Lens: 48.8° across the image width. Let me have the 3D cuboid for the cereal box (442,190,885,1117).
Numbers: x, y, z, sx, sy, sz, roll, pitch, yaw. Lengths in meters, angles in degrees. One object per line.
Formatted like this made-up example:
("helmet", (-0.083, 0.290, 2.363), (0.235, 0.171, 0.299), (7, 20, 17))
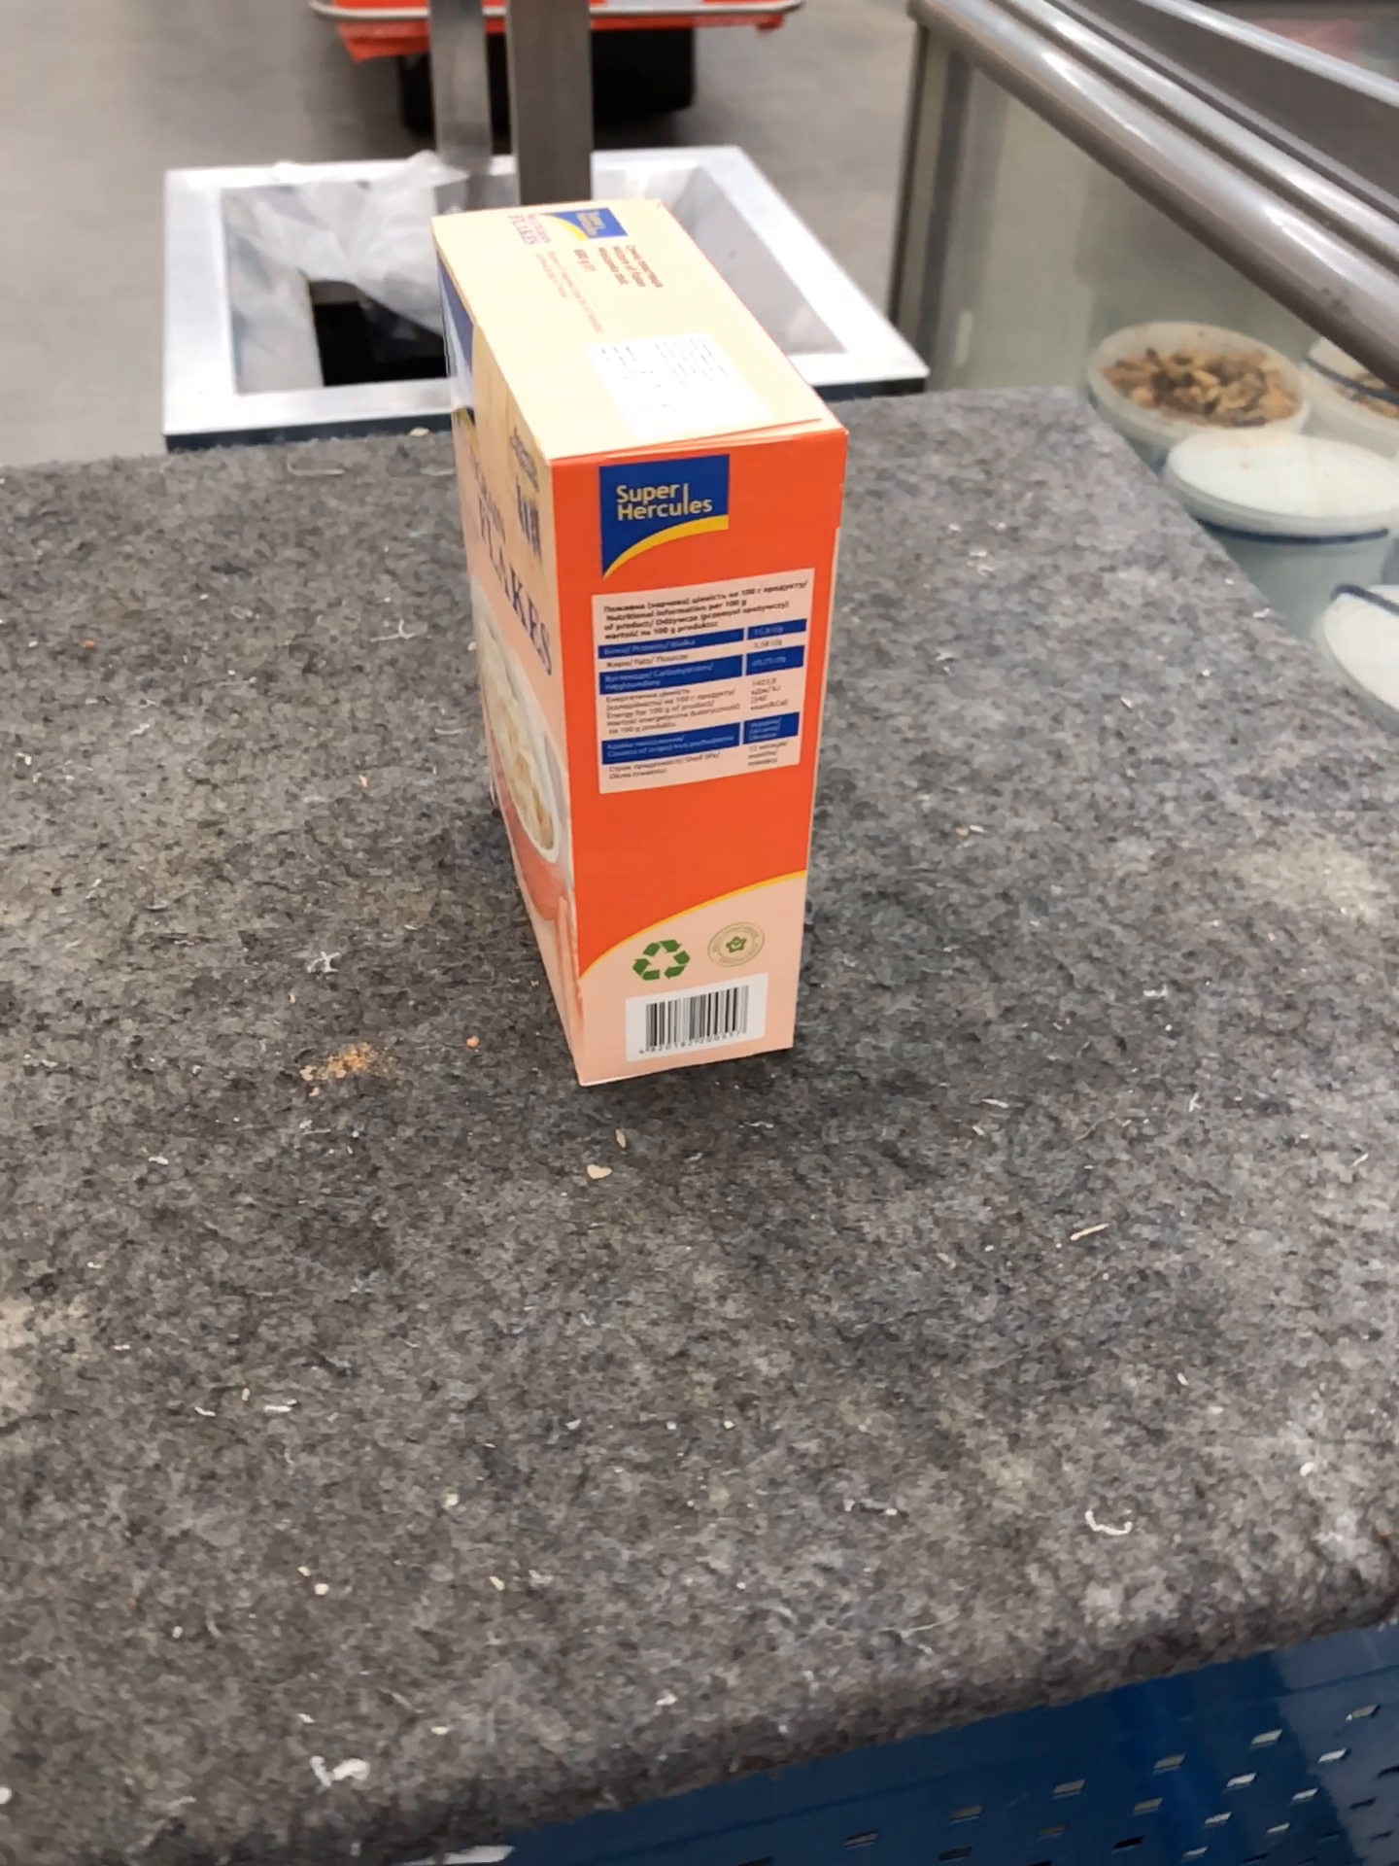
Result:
("cereal box", (-0.015, -0.076, 0.433), (0.070, 0.199, 0.151), (-11, 44, -11))
